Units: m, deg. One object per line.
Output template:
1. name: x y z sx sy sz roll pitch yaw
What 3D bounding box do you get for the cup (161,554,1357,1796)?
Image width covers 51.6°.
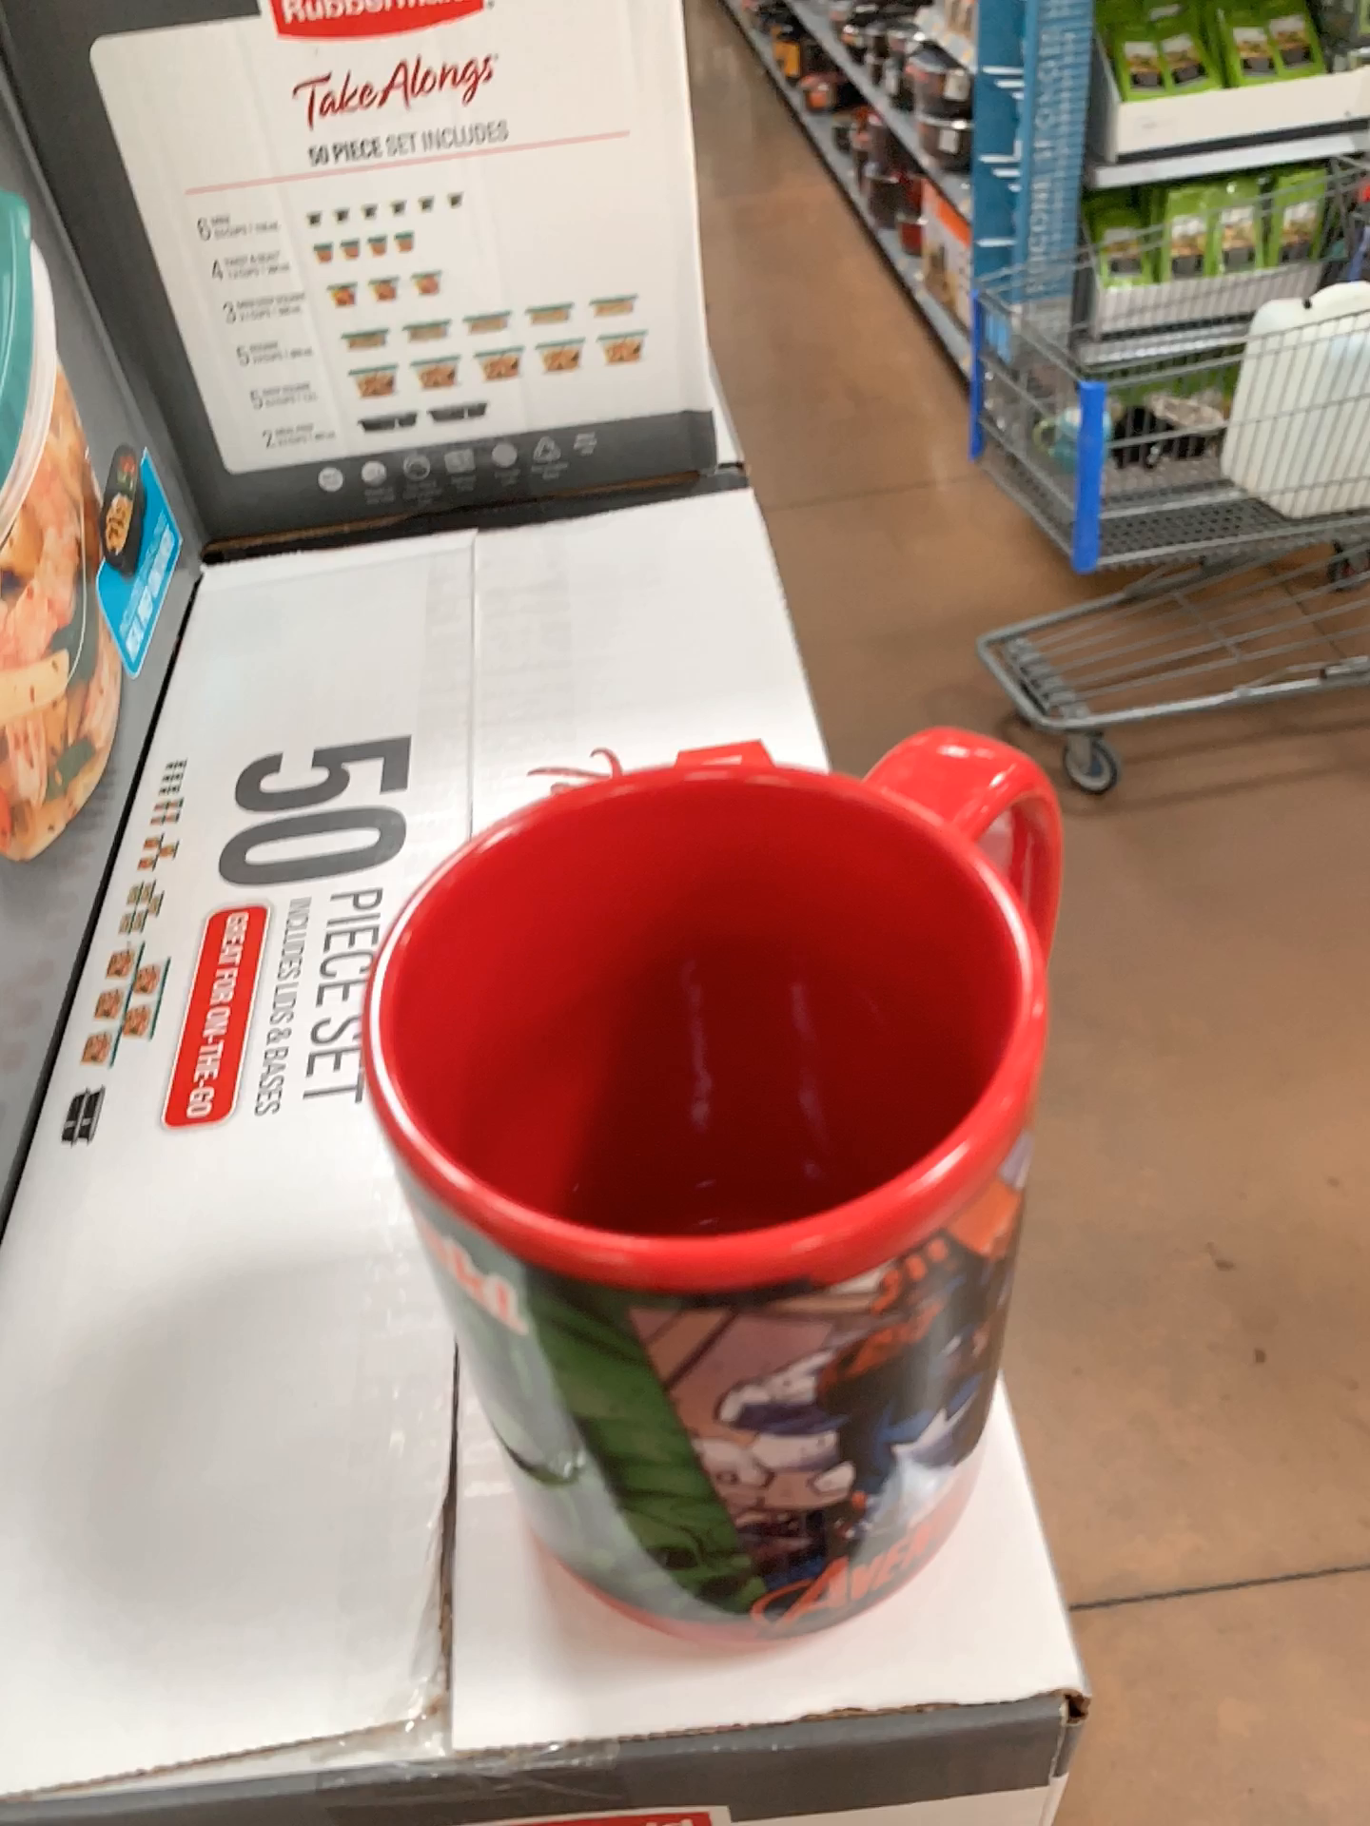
1. cup: 0.013 0.036 0.224 0.100 0.114 0.120 34 56 30
